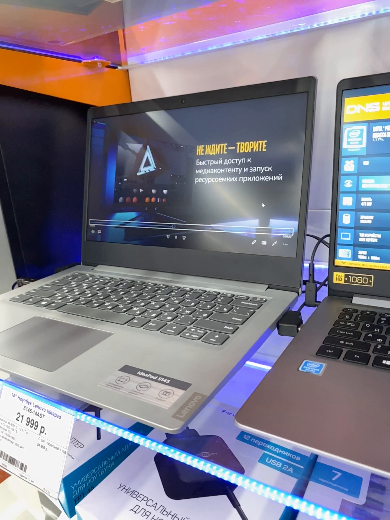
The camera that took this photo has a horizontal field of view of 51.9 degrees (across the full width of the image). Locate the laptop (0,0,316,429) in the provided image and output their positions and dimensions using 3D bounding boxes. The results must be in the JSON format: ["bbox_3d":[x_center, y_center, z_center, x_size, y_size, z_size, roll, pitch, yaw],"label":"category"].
[{"bbox_3d":[-0.081,-0.061,0.407,0.327,0.215,0.303,4,18,31],"label":"laptop"}]
